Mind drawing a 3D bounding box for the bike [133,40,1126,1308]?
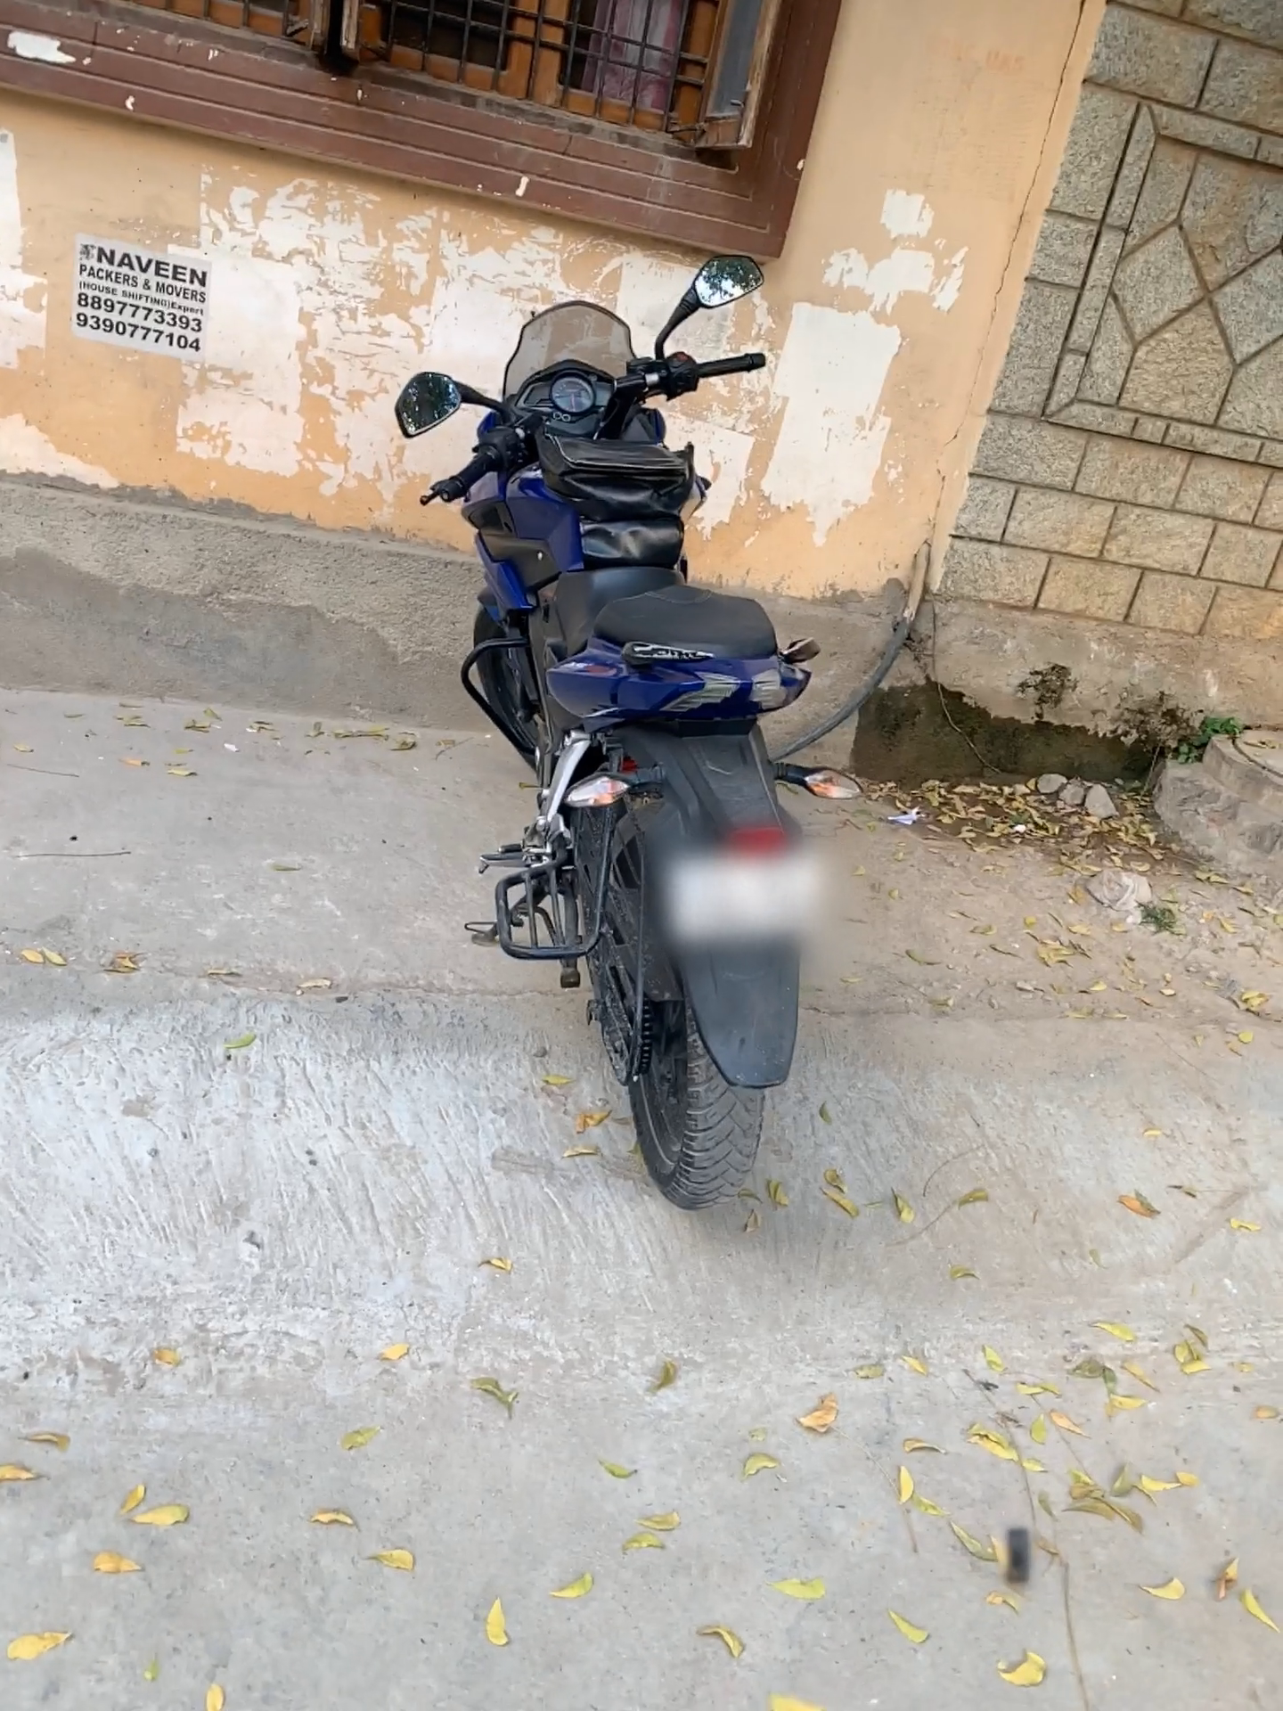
[{"bbox_3d":[-0.275,-0.398,2.194,0.953,1.218,1.573,1,34,-23],"label":"bike"}]
